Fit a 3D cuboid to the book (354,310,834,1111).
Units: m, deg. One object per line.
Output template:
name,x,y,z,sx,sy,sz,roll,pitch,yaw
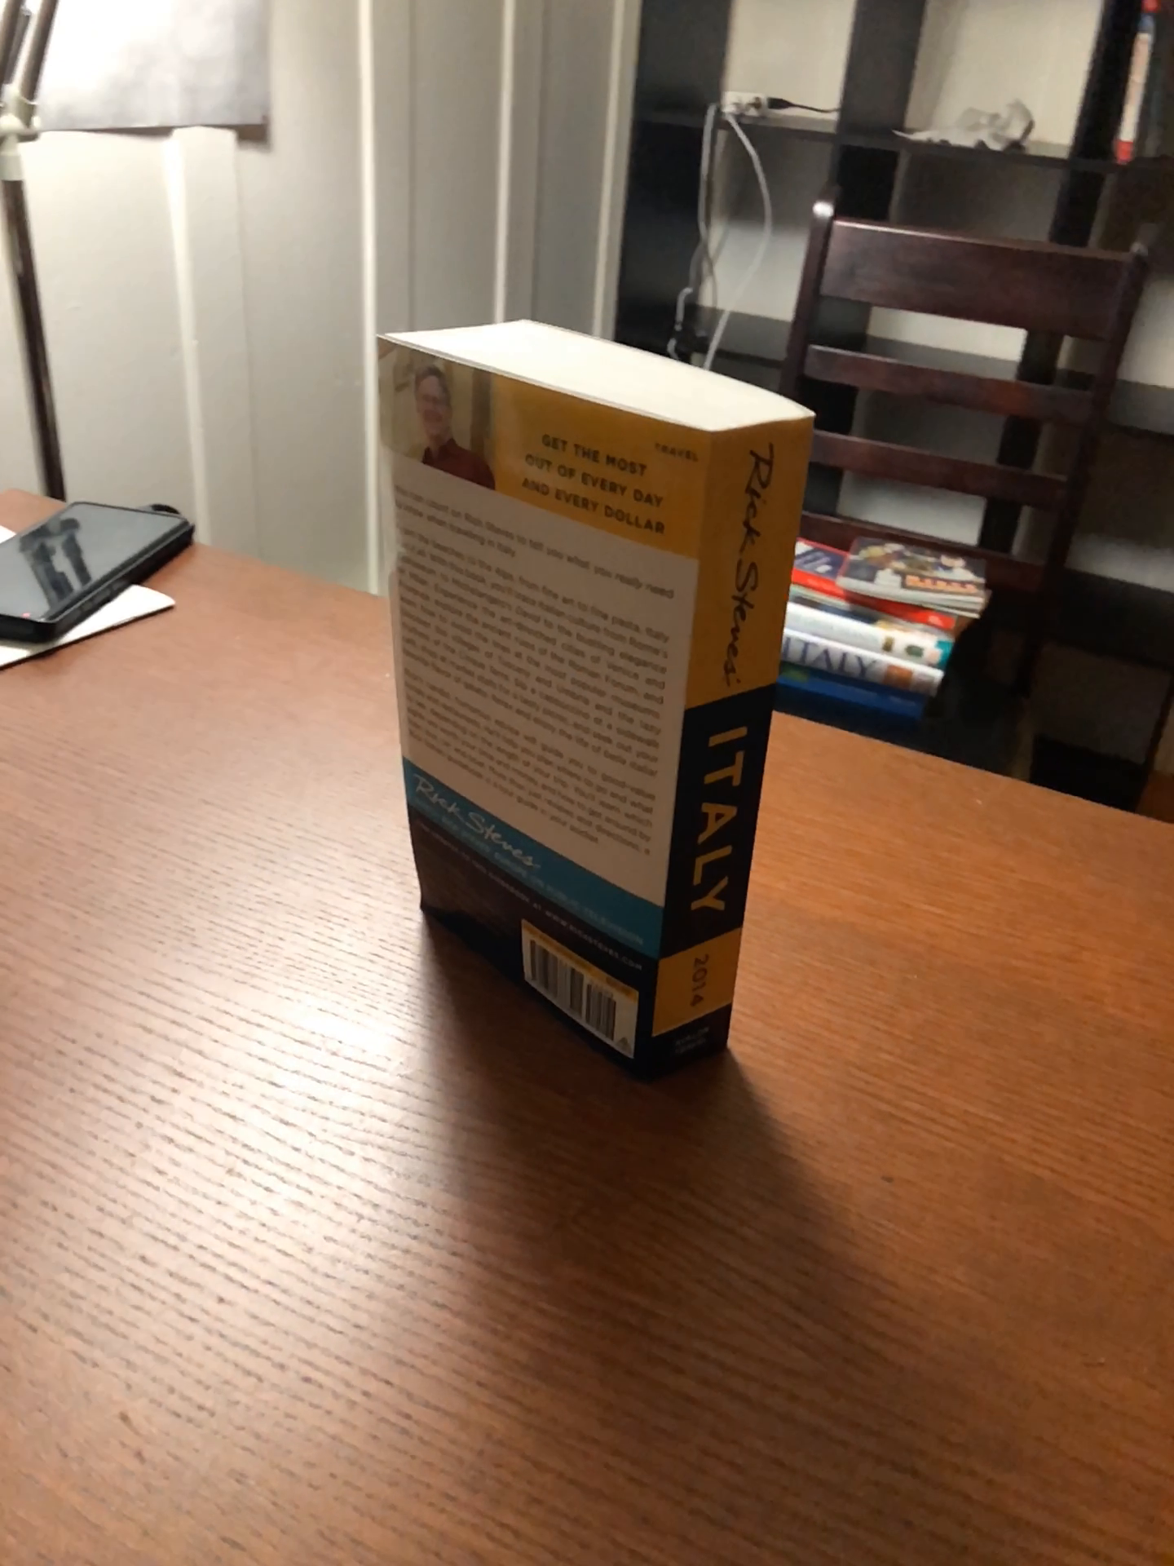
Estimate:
book,-0.005,-0.022,0.387,0.050,0.199,0.130,-25,41,-34
